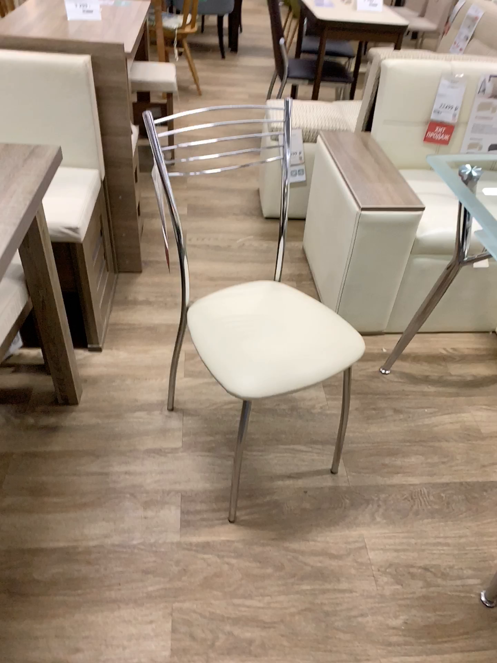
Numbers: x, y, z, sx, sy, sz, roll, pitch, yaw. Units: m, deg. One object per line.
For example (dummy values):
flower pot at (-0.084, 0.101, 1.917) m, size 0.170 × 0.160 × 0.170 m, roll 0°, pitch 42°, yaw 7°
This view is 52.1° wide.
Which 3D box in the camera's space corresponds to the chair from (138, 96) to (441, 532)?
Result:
chair at (0.026, -0.013, 1.323) m, size 0.414 × 0.966 × 0.482 m, roll -17°, pitch 45°, yaw -23°
